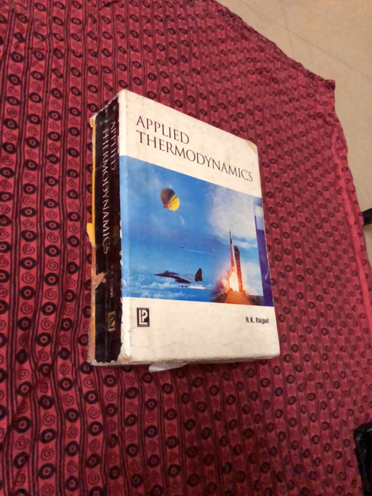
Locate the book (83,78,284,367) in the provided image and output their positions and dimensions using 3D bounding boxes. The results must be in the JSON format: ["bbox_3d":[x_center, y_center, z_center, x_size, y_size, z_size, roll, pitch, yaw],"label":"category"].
[{"bbox_3d":[-0.001,-0.013,0.401,0.179,0.060,0.240,10,68,-37],"label":"book"}]
